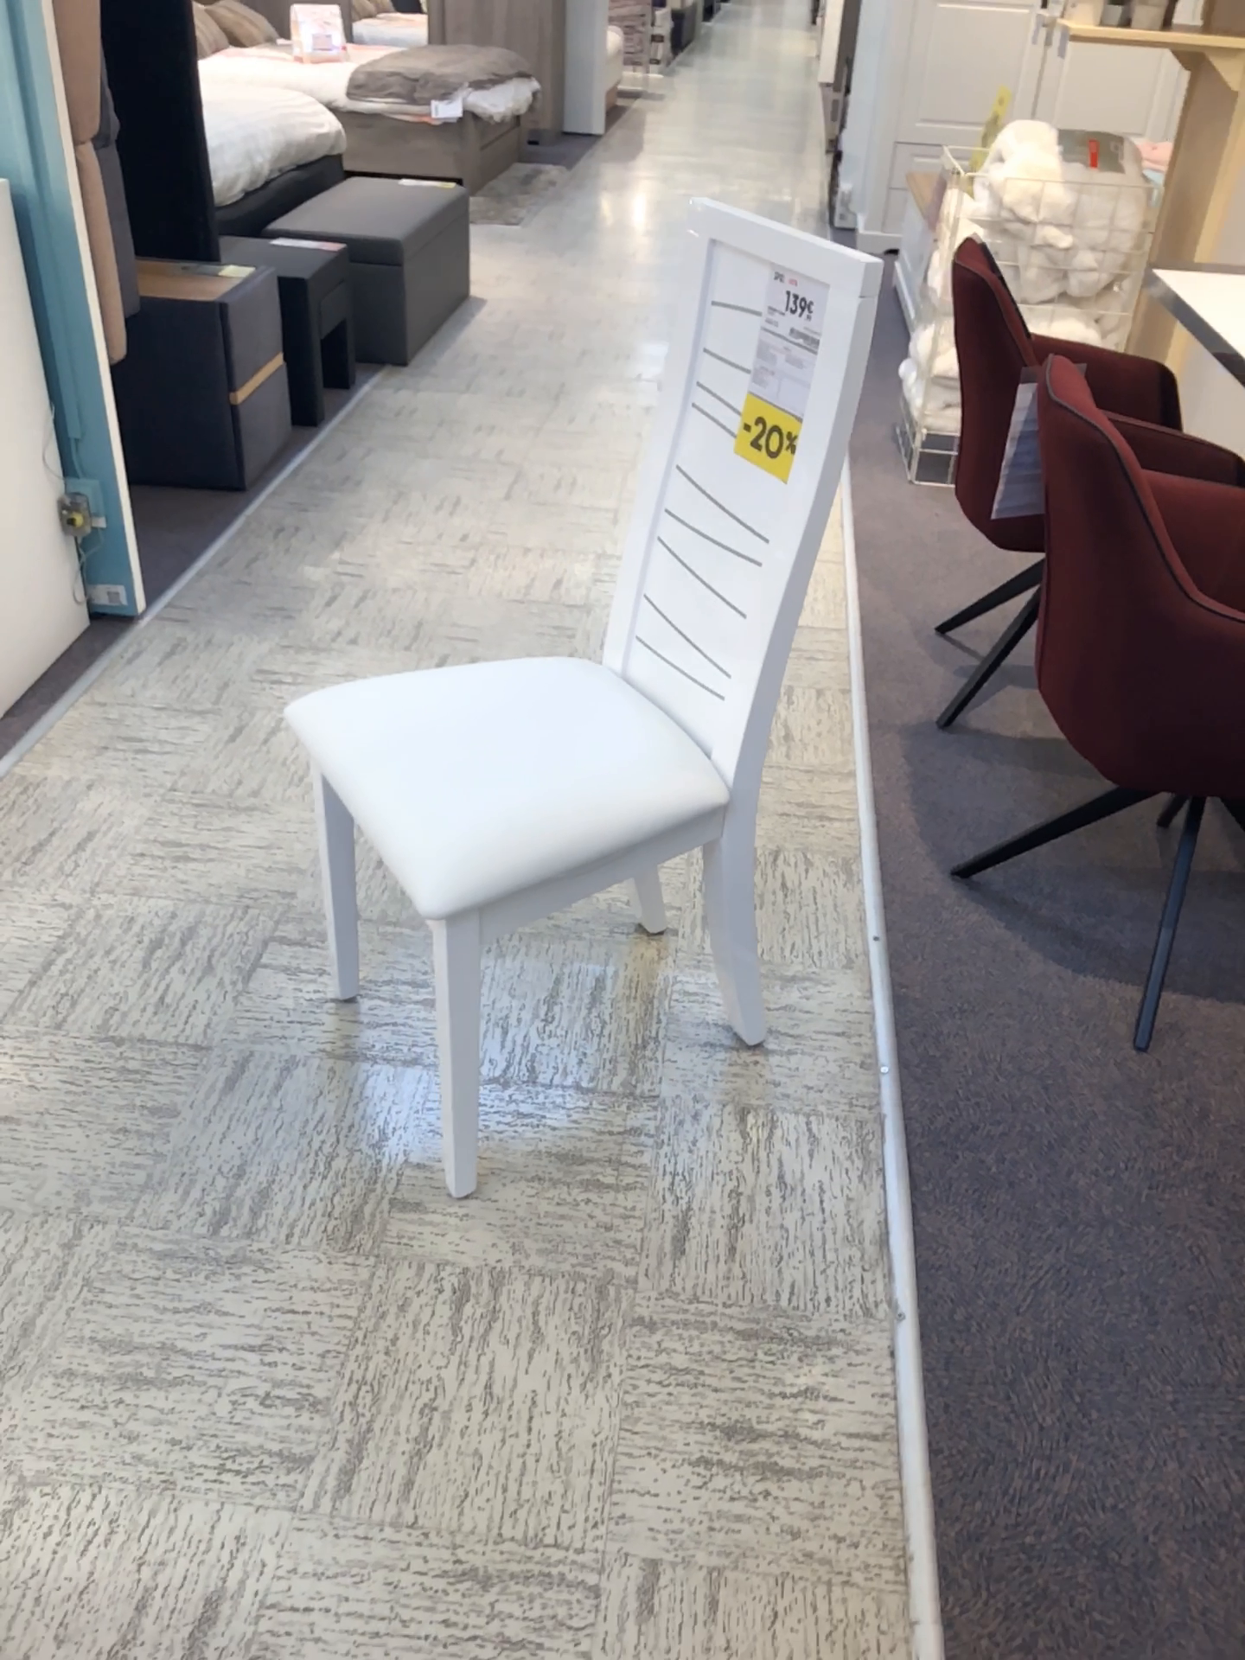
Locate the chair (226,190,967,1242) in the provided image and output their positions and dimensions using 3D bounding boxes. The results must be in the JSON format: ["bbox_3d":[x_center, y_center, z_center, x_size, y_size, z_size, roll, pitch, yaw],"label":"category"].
[{"bbox_3d":[-0.062,-0.130,1.542,0.542,1.004,0.451,-15,38,-26],"label":"chair"}]
